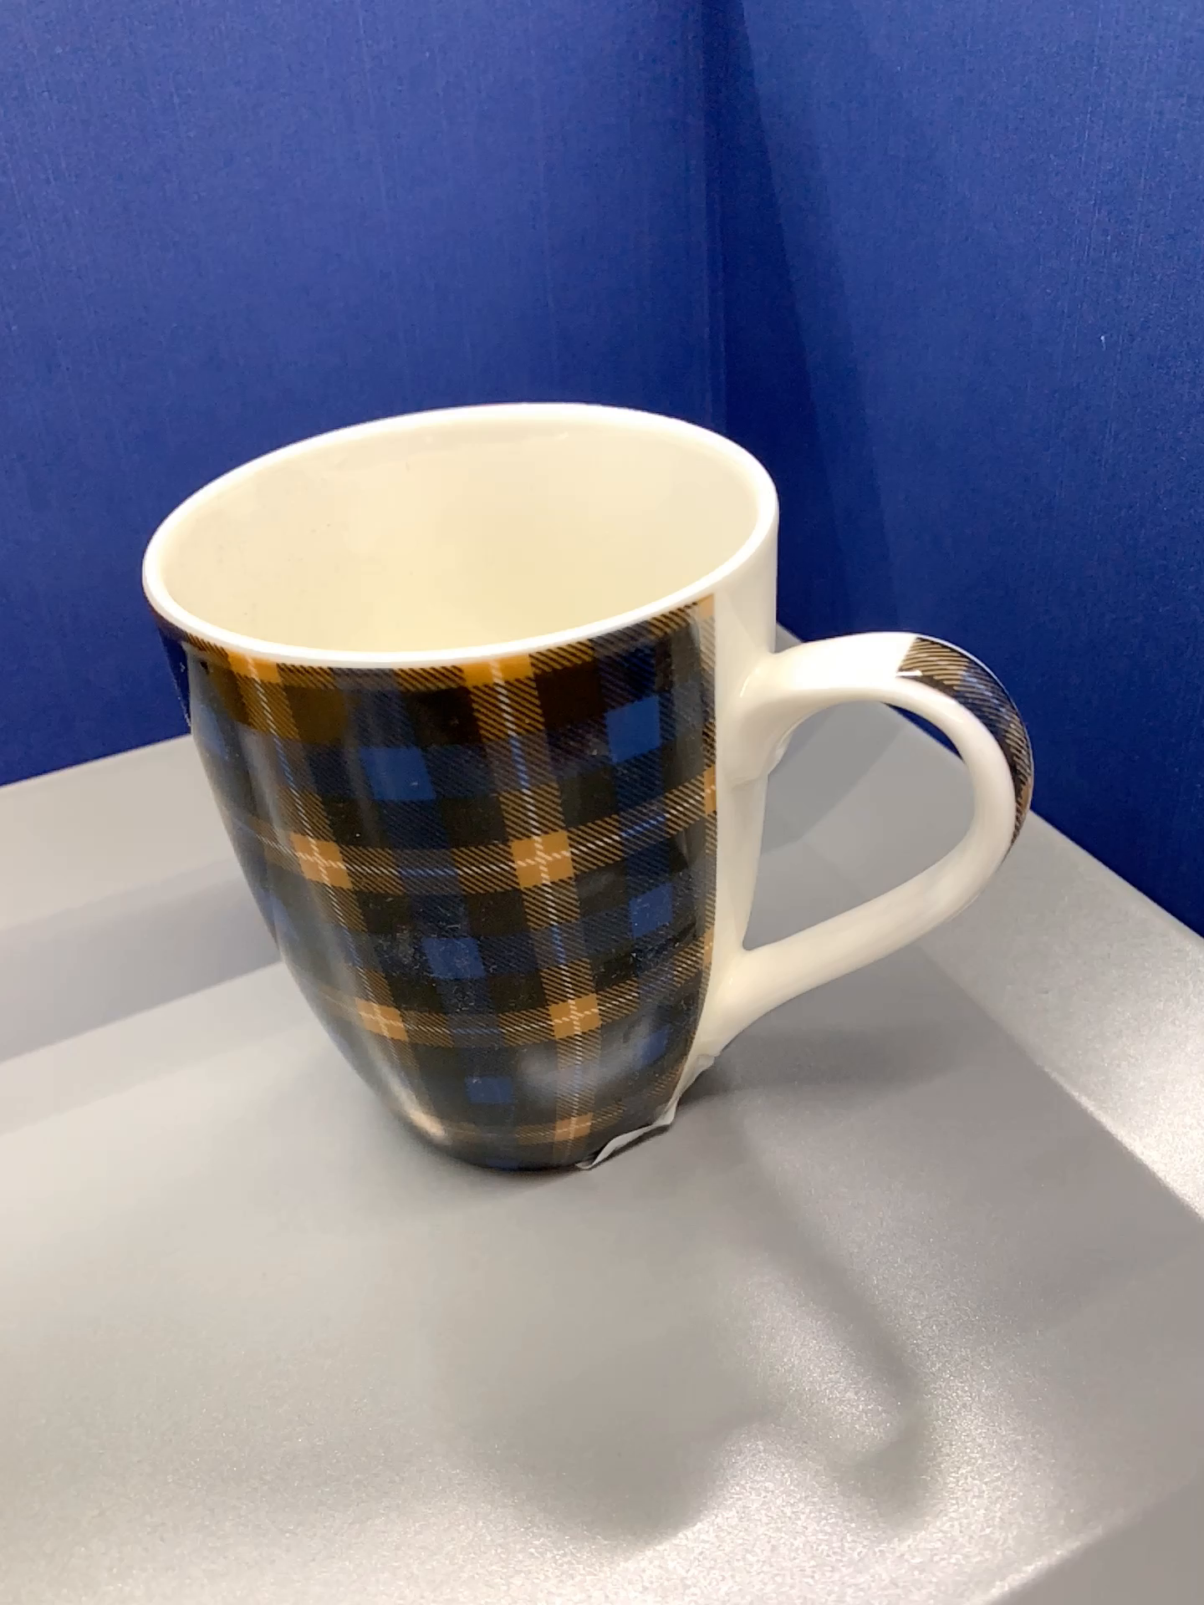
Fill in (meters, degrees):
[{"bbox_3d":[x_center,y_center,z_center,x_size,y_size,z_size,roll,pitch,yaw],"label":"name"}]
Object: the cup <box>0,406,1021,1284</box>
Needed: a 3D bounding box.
[{"bbox_3d":[-0.007,-0.003,0.195,0.121,0.089,0.095,4,33,12],"label":"cup"}]
